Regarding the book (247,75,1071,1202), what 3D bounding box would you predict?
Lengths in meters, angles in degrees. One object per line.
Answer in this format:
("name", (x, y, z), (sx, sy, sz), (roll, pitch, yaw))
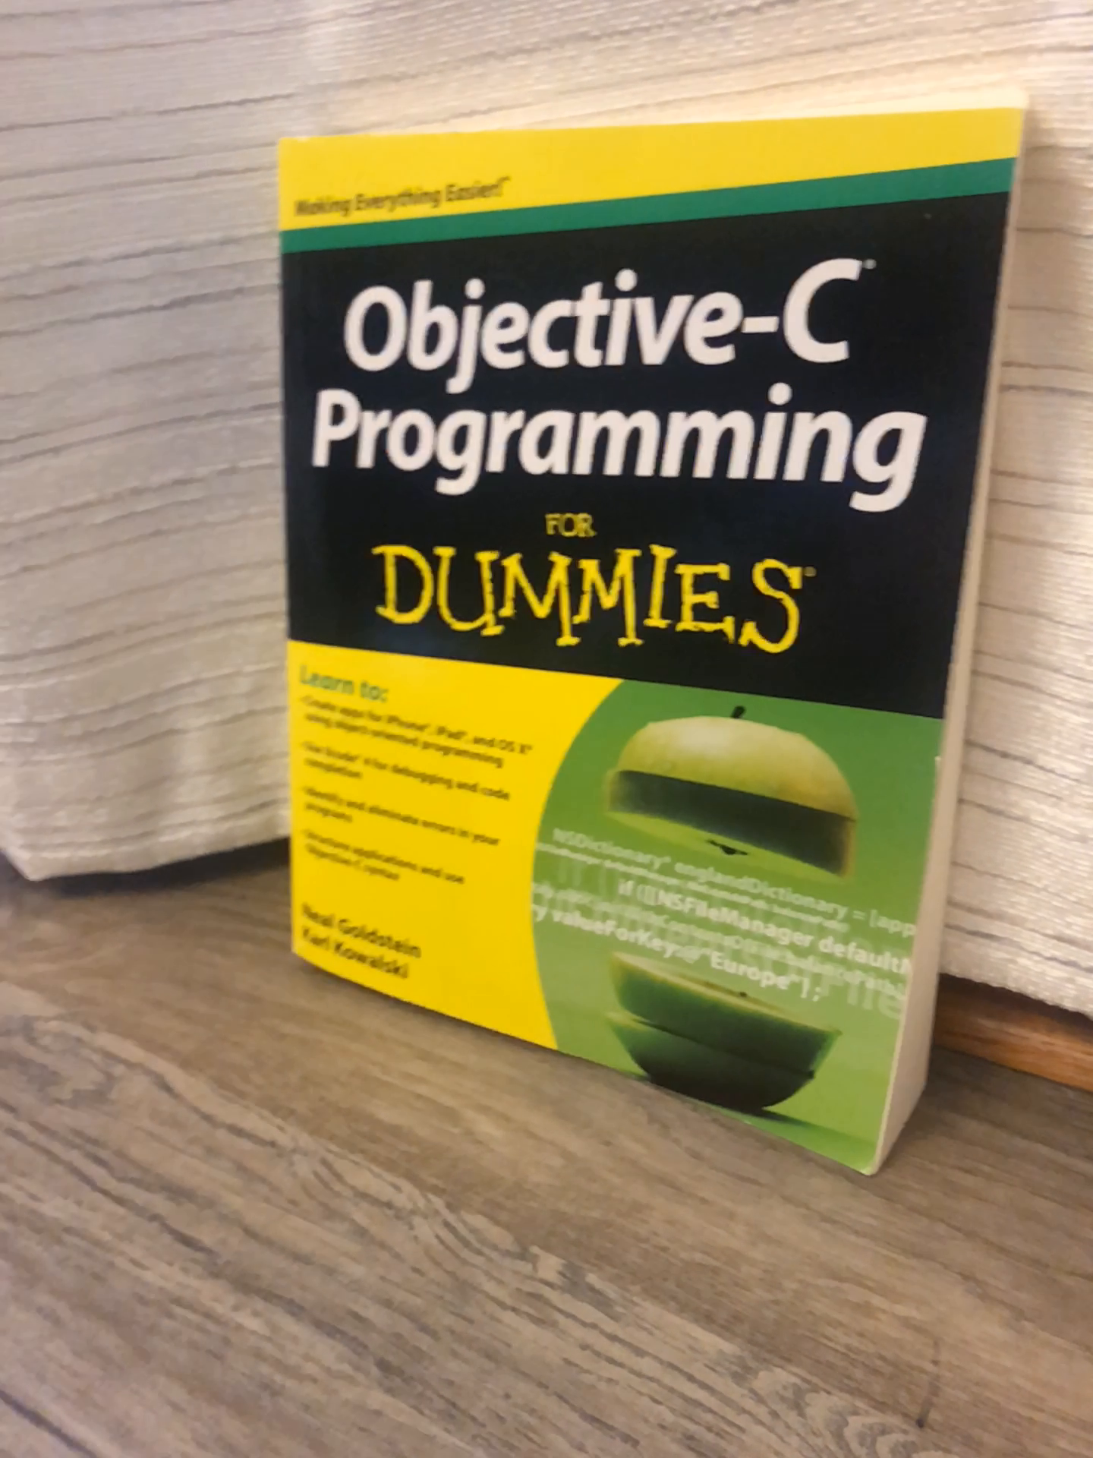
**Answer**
("book", (0.012, -0.023, 0.300), (0.183, 0.230, 0.033), (11, 20, 29))
